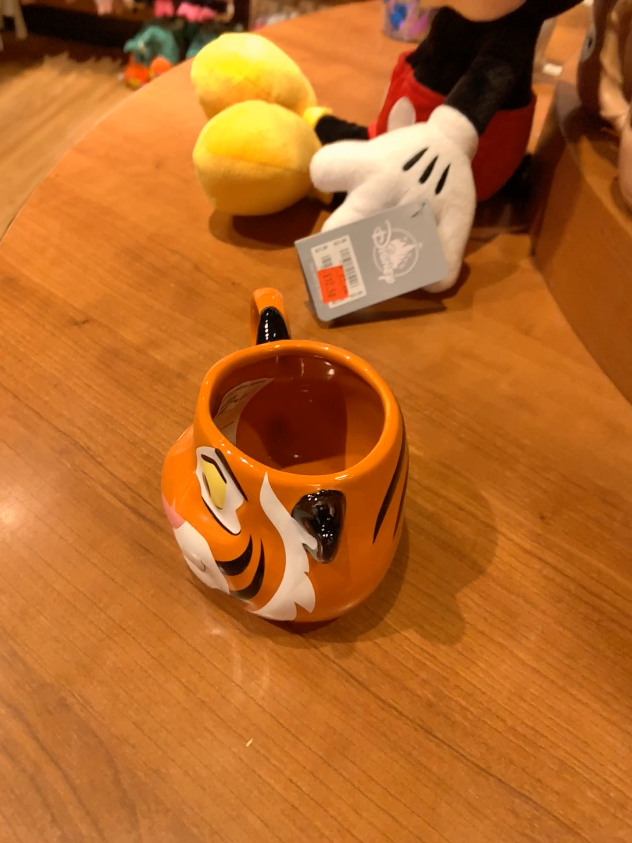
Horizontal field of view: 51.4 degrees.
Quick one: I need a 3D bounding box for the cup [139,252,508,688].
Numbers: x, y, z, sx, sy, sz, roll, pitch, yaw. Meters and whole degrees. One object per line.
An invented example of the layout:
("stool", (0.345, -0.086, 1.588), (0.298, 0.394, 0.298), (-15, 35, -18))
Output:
("cup", (-0.012, 0.010, 0.276), (0.106, 0.086, 0.150), (-6, 48, -13))
